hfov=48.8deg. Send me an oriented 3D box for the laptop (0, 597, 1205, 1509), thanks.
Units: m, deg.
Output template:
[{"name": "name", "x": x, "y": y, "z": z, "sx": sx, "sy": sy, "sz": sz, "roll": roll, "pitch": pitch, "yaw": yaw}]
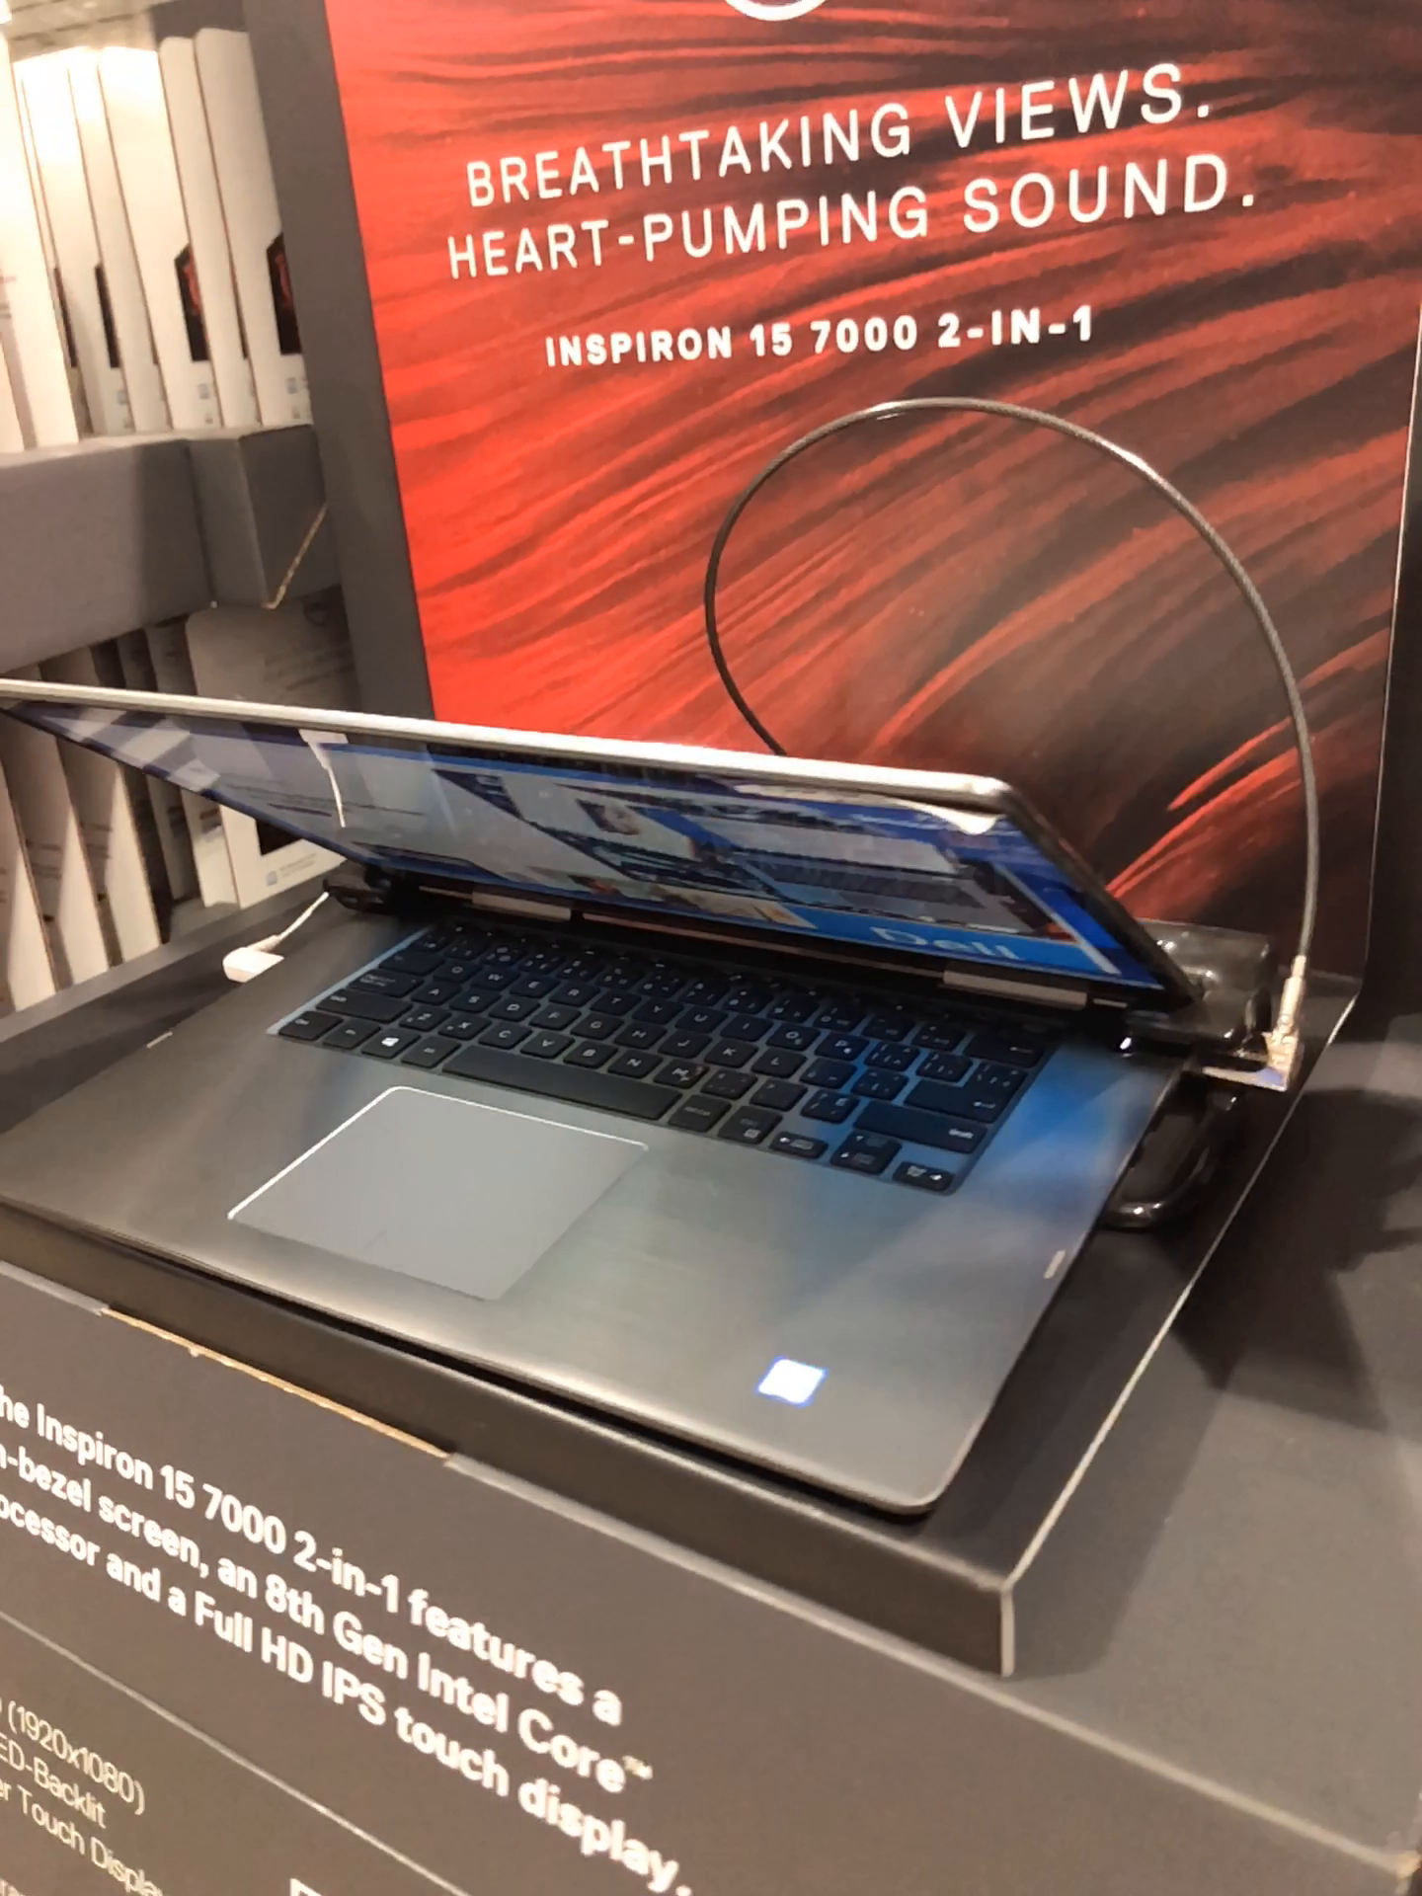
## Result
[{"name": "laptop", "x": -0.053, "y": -0.009, "z": 0.500, "sx": 0.356, "sy": 0.137, "sz": 0.212, "roll": 10, "pitch": 29, "yaw": 31}]
